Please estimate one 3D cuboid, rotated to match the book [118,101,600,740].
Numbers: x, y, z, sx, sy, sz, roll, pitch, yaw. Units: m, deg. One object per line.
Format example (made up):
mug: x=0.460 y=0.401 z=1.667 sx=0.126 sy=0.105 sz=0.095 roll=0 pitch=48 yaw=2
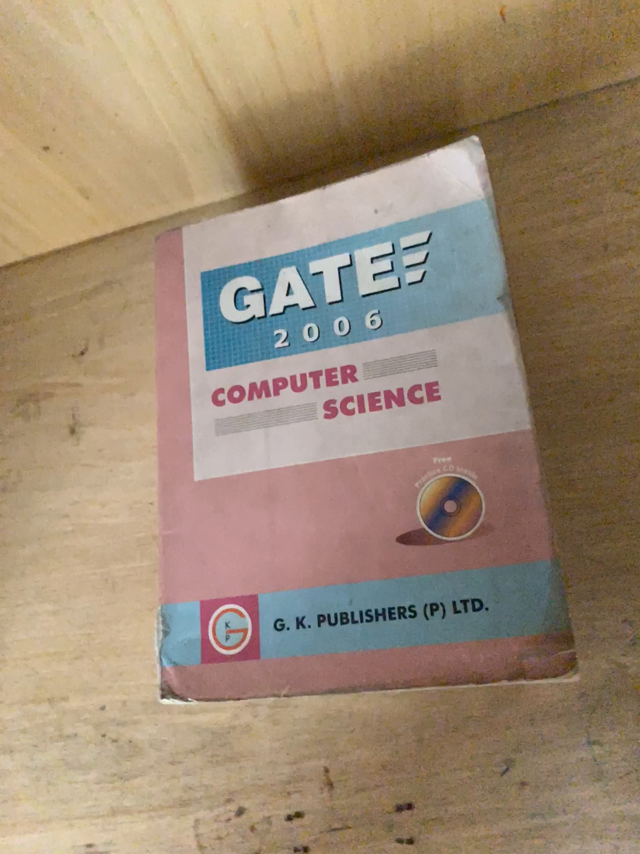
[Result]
book: x=0.007 y=-0.001 z=0.333 sx=0.190 sy=0.080 sz=0.271 roll=-9 pitch=72 yaw=13
